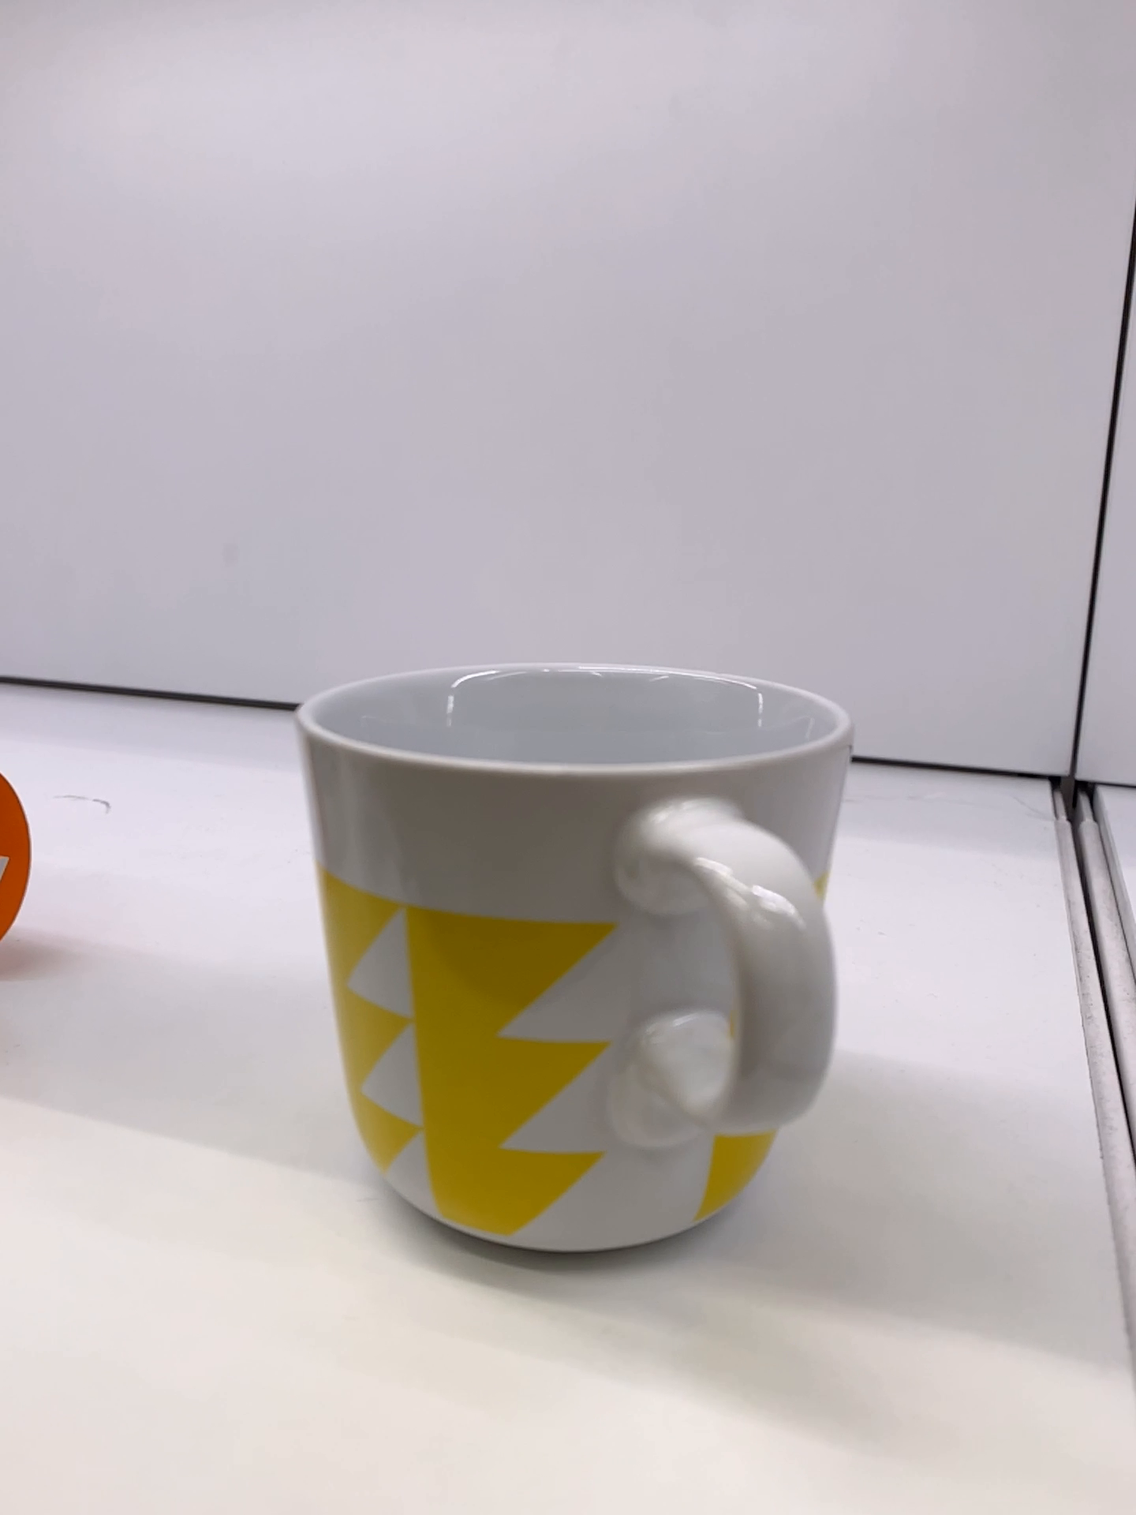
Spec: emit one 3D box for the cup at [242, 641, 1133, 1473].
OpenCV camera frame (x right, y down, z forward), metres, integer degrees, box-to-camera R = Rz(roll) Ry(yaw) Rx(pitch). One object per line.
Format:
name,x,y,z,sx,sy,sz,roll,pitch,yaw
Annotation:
cup,0.003,0.023,0.170,0.084,0.065,0.107,-3,13,-21
